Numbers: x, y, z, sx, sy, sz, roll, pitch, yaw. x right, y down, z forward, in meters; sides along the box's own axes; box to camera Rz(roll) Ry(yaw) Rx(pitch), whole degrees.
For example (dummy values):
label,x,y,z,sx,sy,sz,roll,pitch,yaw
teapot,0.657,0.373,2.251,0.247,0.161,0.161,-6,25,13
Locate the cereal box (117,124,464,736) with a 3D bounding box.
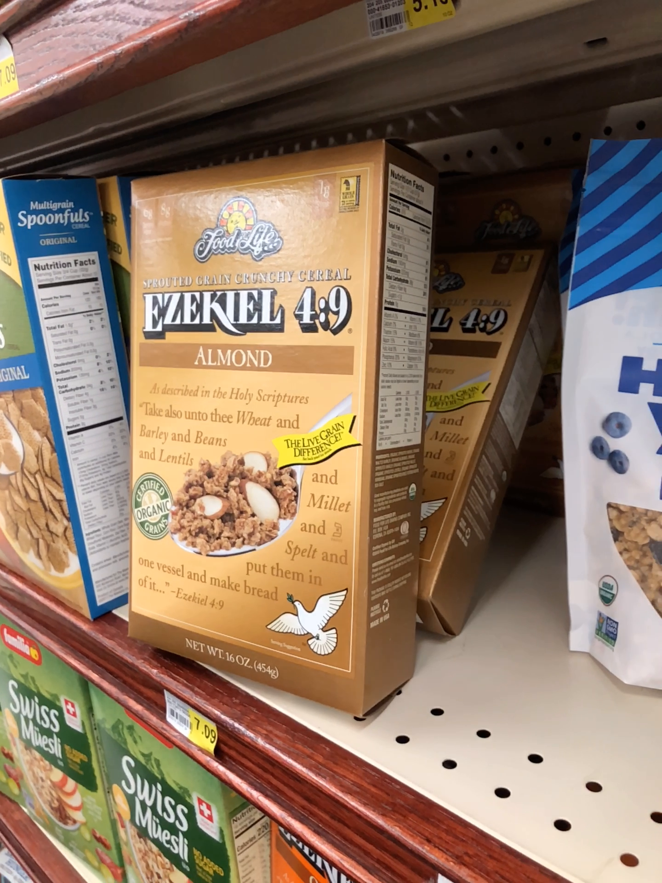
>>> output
label,x,y,z,sx,sy,sz,roll,pitch,yaw
cereal box,-0.024,-0.008,0.328,0.140,0.220,0.060,5,6,34
